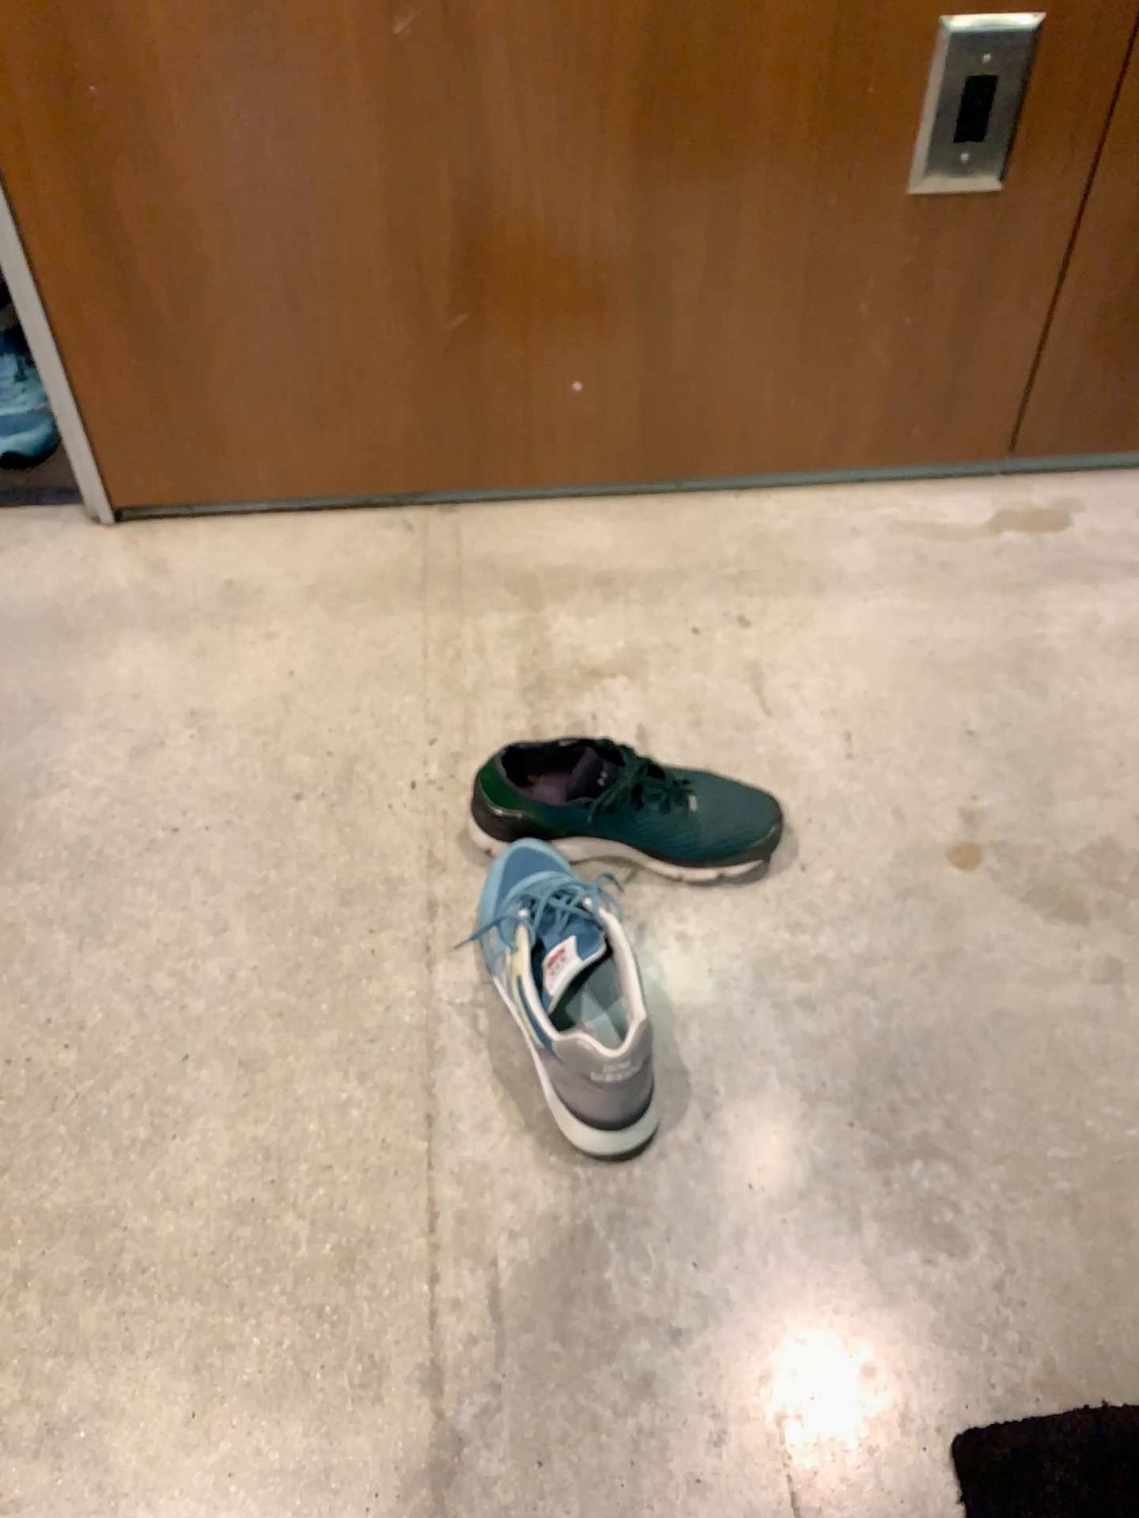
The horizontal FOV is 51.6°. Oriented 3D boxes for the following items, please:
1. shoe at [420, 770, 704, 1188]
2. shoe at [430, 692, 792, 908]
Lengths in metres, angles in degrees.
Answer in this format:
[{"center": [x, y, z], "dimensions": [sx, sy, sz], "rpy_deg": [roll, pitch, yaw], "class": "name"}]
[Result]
[{"center": [-0.017, 0.167, 0.976], "dimensions": [0.130, 0.089, 0.322], "rpy_deg": [-14, 48, -13], "class": "shoe"}, {"center": [0.043, 0.036, 1.137], "dimensions": [0.320, 0.089, 0.141], "rpy_deg": [8, 47, 8], "class": "shoe"}]
